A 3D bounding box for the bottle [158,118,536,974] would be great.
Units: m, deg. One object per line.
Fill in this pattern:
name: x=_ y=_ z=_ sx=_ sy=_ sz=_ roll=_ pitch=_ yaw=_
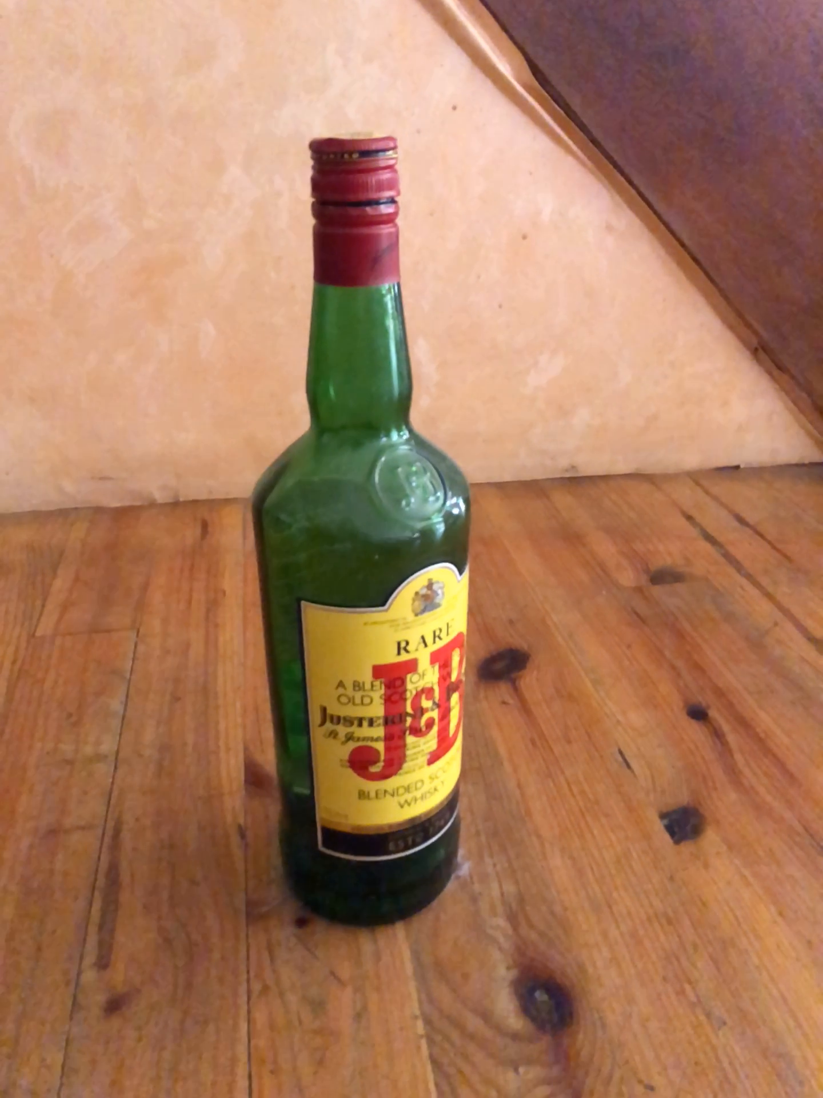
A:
bottle: x=-0.022 y=0.009 z=0.356 sx=0.090 sy=0.318 sz=0.080 roll=-17 pitch=32 yaw=-30
